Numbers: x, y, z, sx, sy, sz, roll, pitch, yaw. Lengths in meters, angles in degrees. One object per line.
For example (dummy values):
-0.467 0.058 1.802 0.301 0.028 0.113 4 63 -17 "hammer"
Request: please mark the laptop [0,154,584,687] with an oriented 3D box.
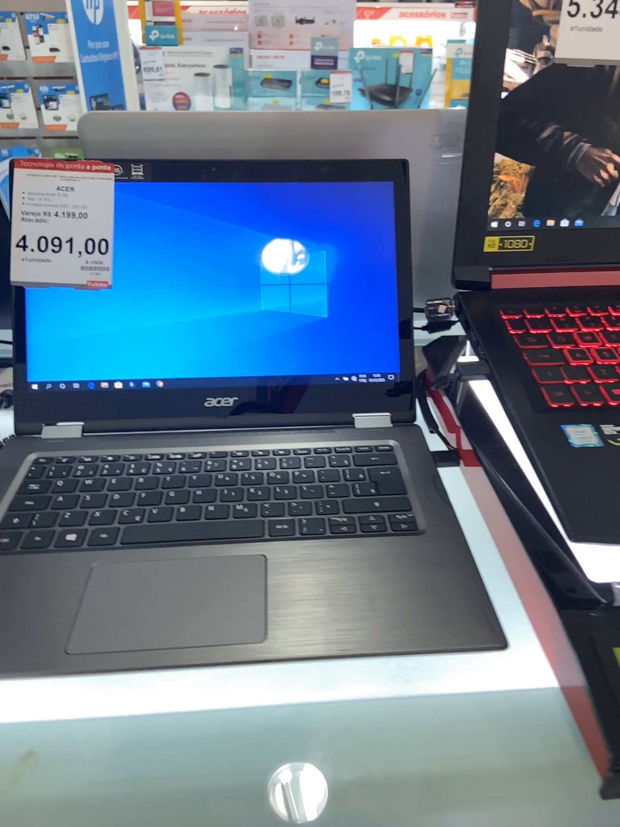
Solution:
-0.072 -0.043 0.431 0.328 0.187 0.358 -2 31 -3 "laptop"
